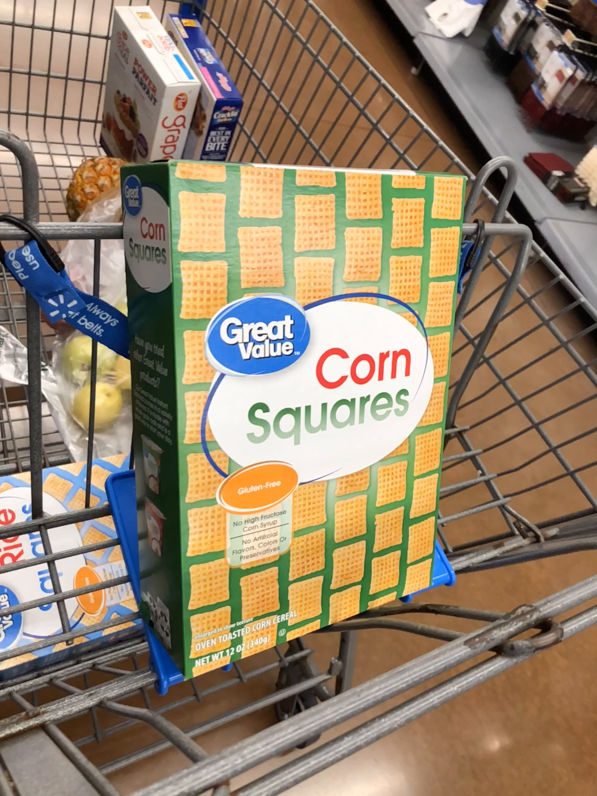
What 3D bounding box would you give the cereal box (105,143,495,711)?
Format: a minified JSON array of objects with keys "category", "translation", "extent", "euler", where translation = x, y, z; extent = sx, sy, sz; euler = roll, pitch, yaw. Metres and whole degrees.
[{"category":"cereal box","translation":[0.007,0.007,0.388],"extent":[0.201,0.280,0.070],"euler":[-10,19,-31]}]
